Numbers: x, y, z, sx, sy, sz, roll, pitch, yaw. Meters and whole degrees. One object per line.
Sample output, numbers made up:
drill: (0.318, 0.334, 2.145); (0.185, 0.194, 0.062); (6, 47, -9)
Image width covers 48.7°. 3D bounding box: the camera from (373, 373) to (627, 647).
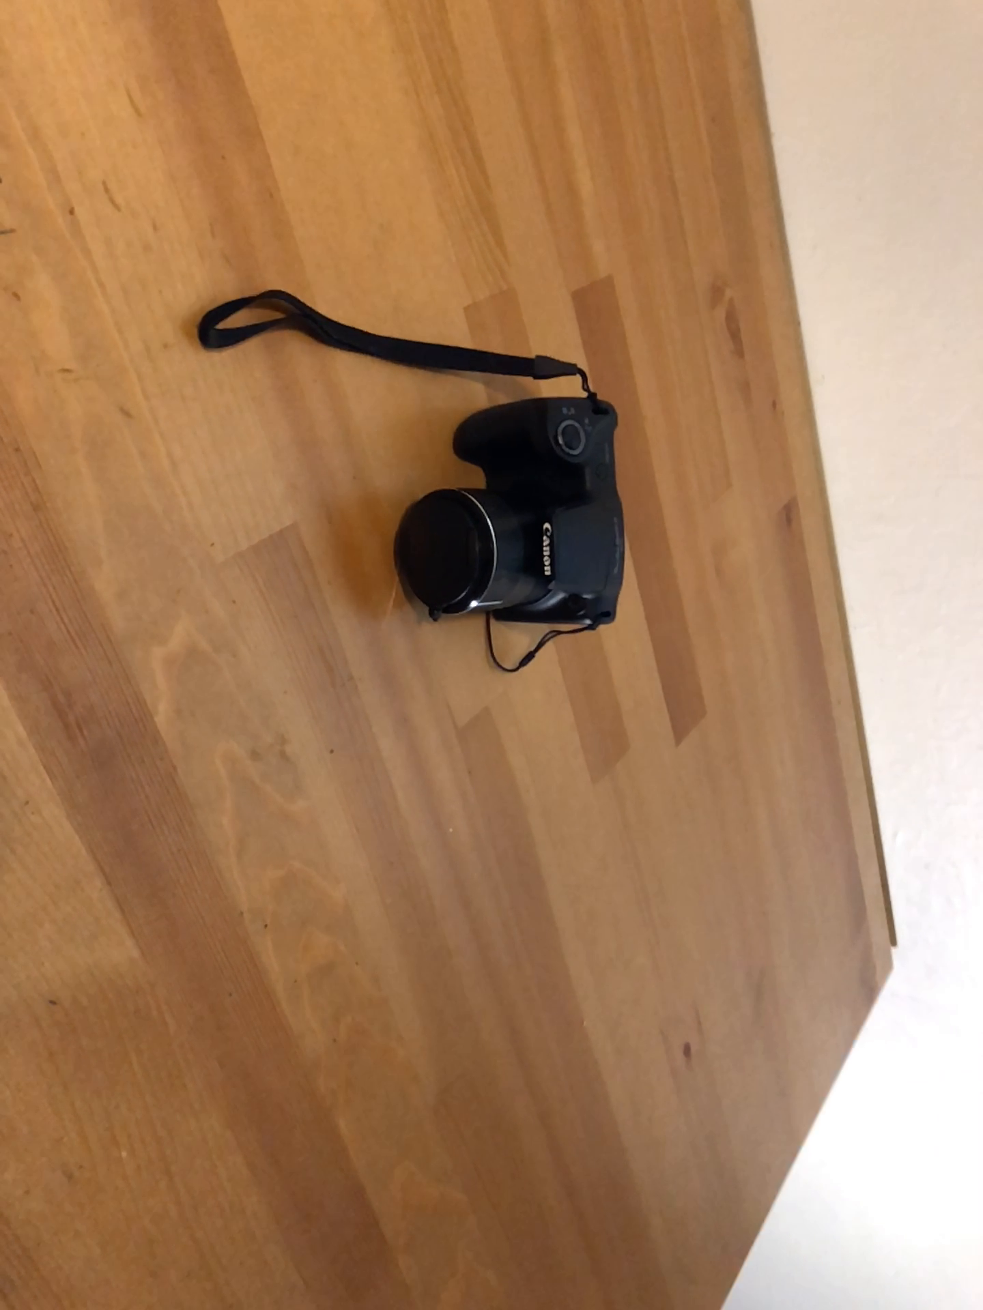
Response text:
camera: (0.007, -0.065, 0.491); (0.097, 0.062, 0.109); (-11, 102, -49)
